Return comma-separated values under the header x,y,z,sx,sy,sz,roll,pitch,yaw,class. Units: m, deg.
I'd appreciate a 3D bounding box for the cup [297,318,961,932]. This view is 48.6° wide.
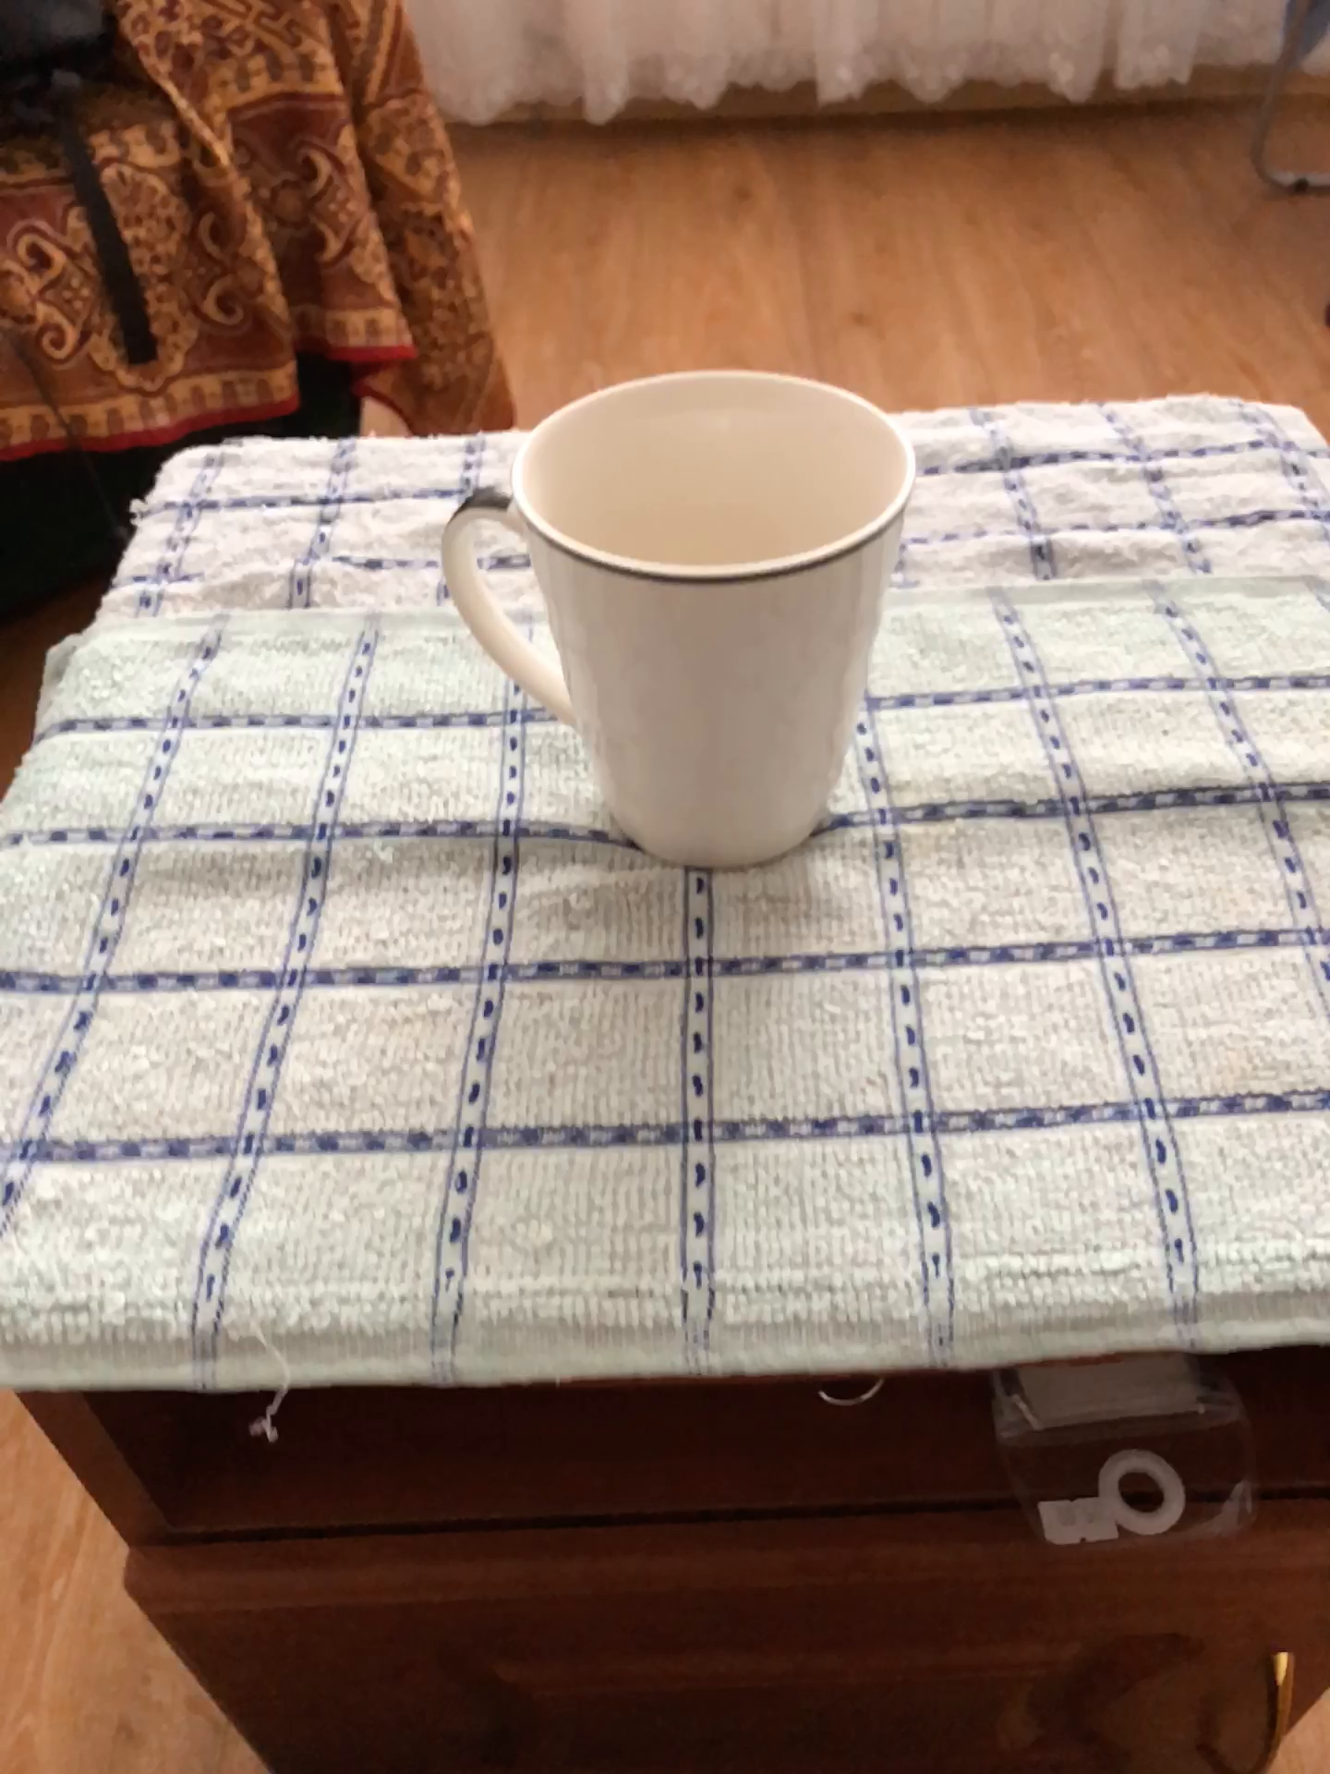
x,y,z,sx,sy,sz,roll,pitch,yaw,class
-0.005,-0.069,0.366,0.123,0.090,0.091,18,49,20,cup
